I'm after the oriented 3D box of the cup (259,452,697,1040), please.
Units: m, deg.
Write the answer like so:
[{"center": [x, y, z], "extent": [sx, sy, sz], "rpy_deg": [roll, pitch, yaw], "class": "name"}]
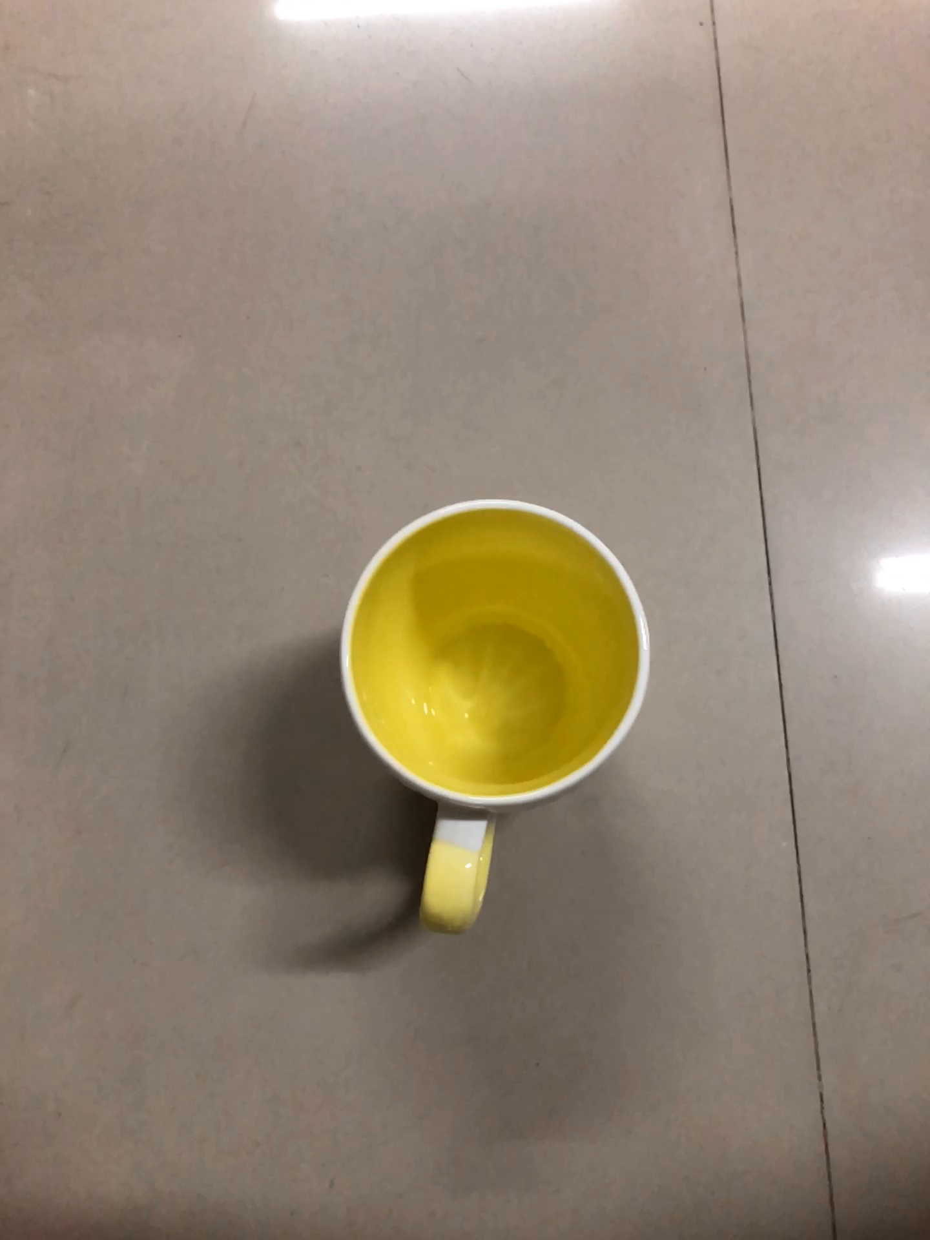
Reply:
[{"center": [0.007, 0.031, 0.272], "extent": [0.080, 0.080, 0.120], "rpy_deg": [9, 80, 6], "class": "cup"}]
